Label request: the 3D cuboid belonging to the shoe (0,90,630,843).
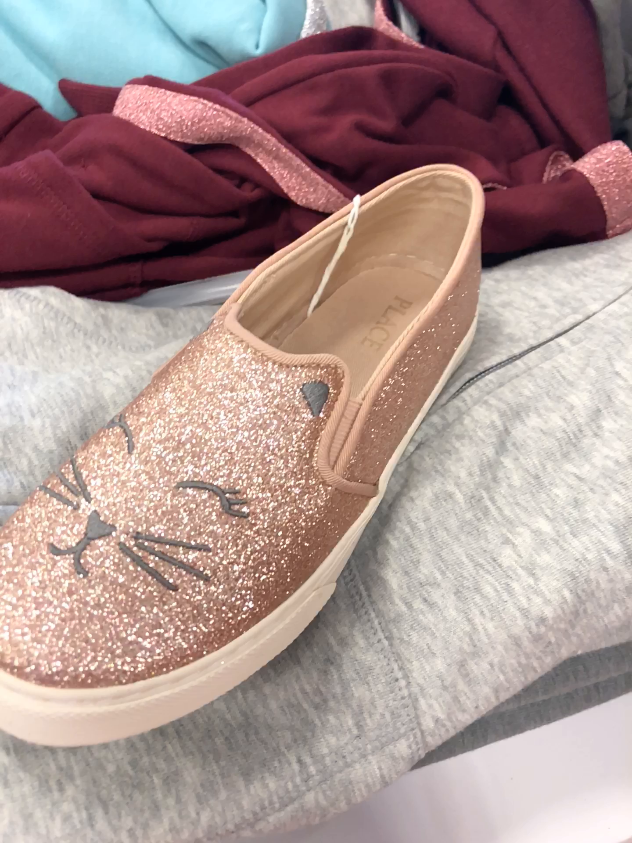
[{"bbox_3d":[-0.007,-0.003,0.212,0.090,0.080,0.220,35,57,15],"label":"shoe"}]
